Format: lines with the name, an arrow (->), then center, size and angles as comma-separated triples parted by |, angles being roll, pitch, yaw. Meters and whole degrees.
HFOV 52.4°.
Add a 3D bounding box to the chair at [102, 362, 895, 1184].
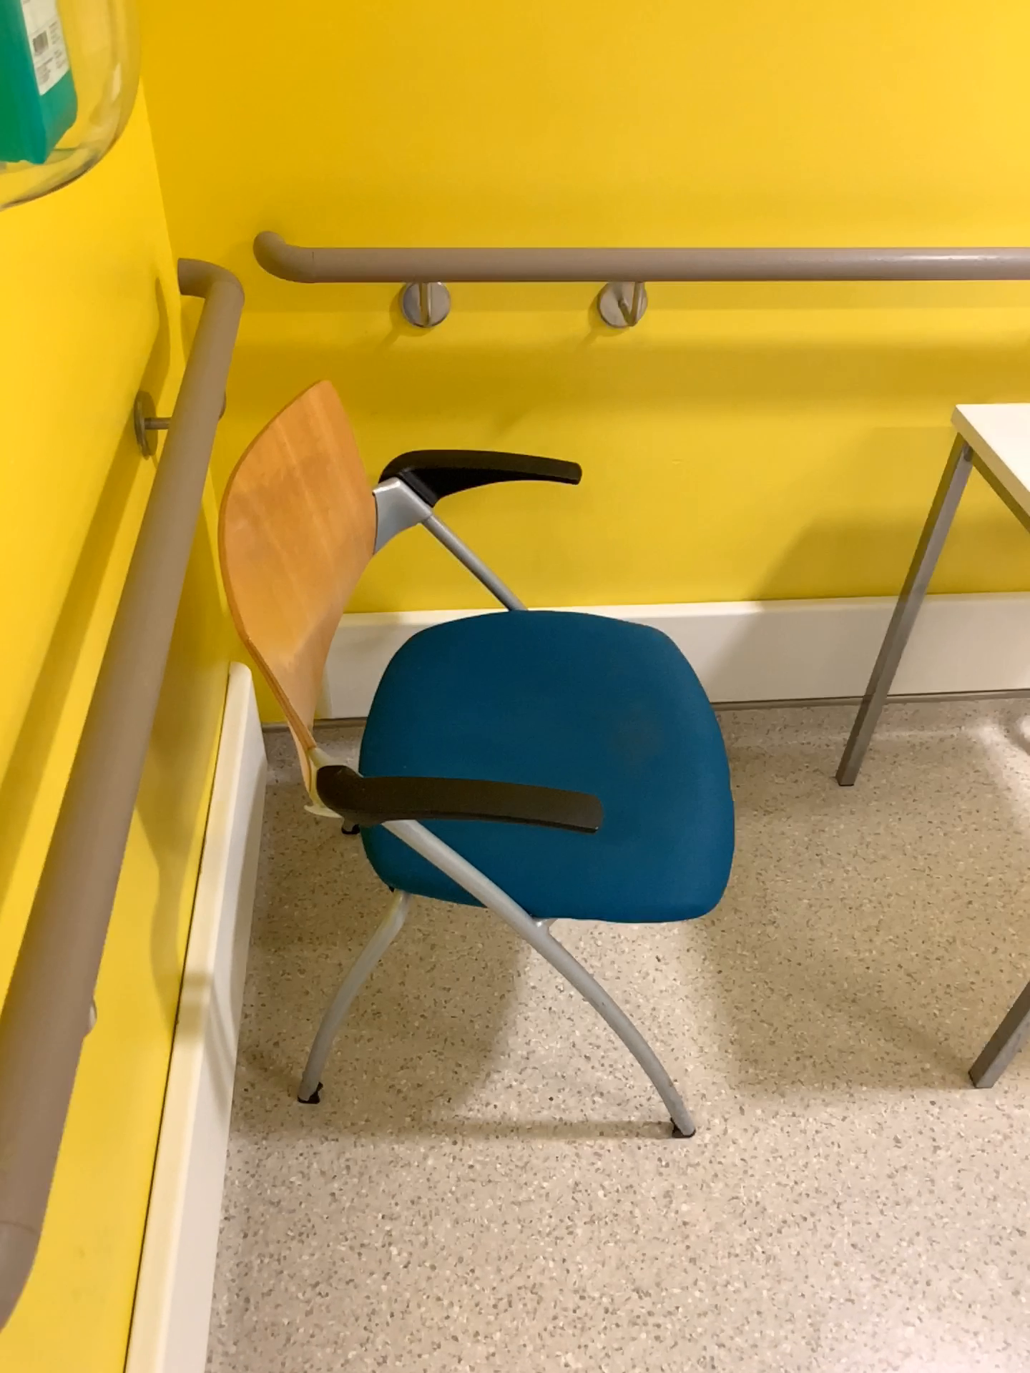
chair -> -0.016, 0.119, 1.250 | 0.589, 0.779, 0.576 | 2, 41, 0
